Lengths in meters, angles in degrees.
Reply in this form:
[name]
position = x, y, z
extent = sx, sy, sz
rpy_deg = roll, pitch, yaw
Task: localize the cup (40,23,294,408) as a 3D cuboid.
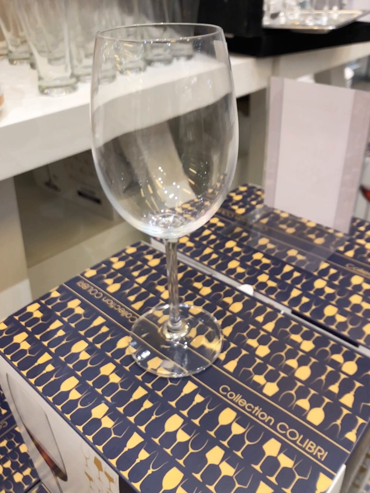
[cup]
position = -0.007, -0.018, 0.264
extent = 0.090, 0.208, 0.090
rpy_deg = -1, 34, 1
